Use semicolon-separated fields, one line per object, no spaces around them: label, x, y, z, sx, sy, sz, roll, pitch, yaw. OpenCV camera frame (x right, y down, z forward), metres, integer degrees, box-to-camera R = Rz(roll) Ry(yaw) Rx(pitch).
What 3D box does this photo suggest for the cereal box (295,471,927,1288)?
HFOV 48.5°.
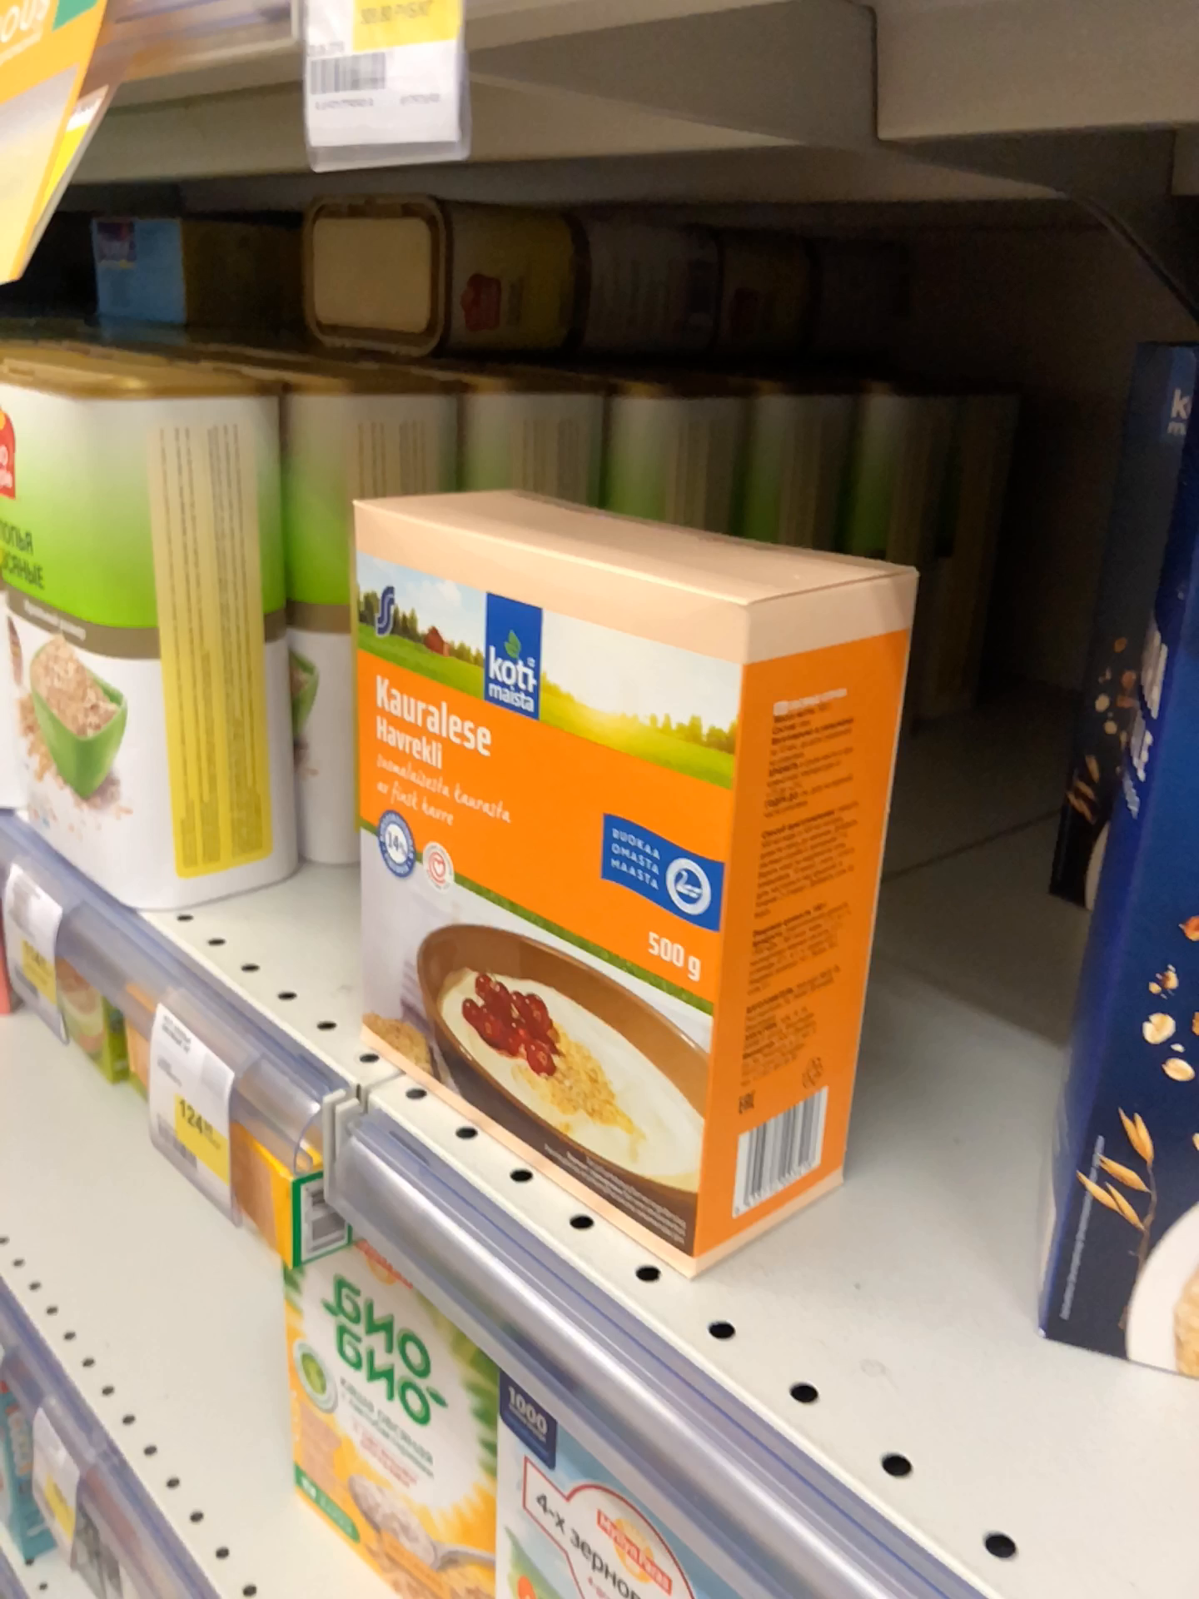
cereal box;-0.008;0.007;0.367;0.070;0.169;0.160;-16;27;-40
